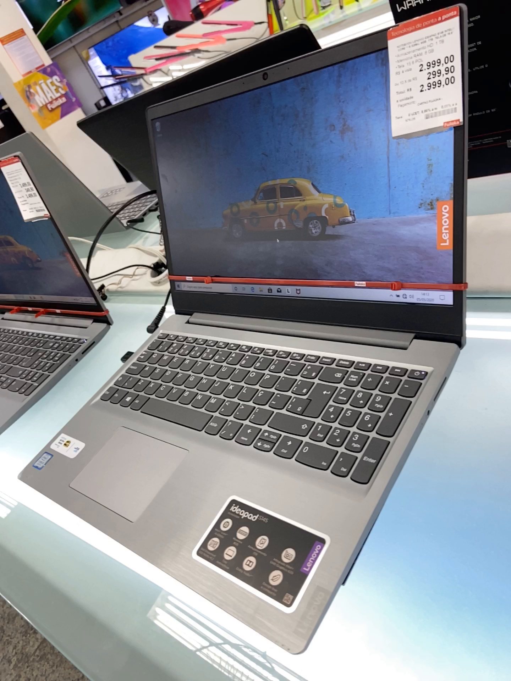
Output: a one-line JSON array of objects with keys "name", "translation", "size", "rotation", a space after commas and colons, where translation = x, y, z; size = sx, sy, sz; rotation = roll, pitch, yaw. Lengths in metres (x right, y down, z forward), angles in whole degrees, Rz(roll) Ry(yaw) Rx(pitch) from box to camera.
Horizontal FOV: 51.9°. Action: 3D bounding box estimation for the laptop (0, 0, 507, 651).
[{"name": "laptop", "translation": [-0.053, -0.053, 0.455], "size": [0.369, 0.209, 0.380], "rotation": [6, 47, 43]}]
